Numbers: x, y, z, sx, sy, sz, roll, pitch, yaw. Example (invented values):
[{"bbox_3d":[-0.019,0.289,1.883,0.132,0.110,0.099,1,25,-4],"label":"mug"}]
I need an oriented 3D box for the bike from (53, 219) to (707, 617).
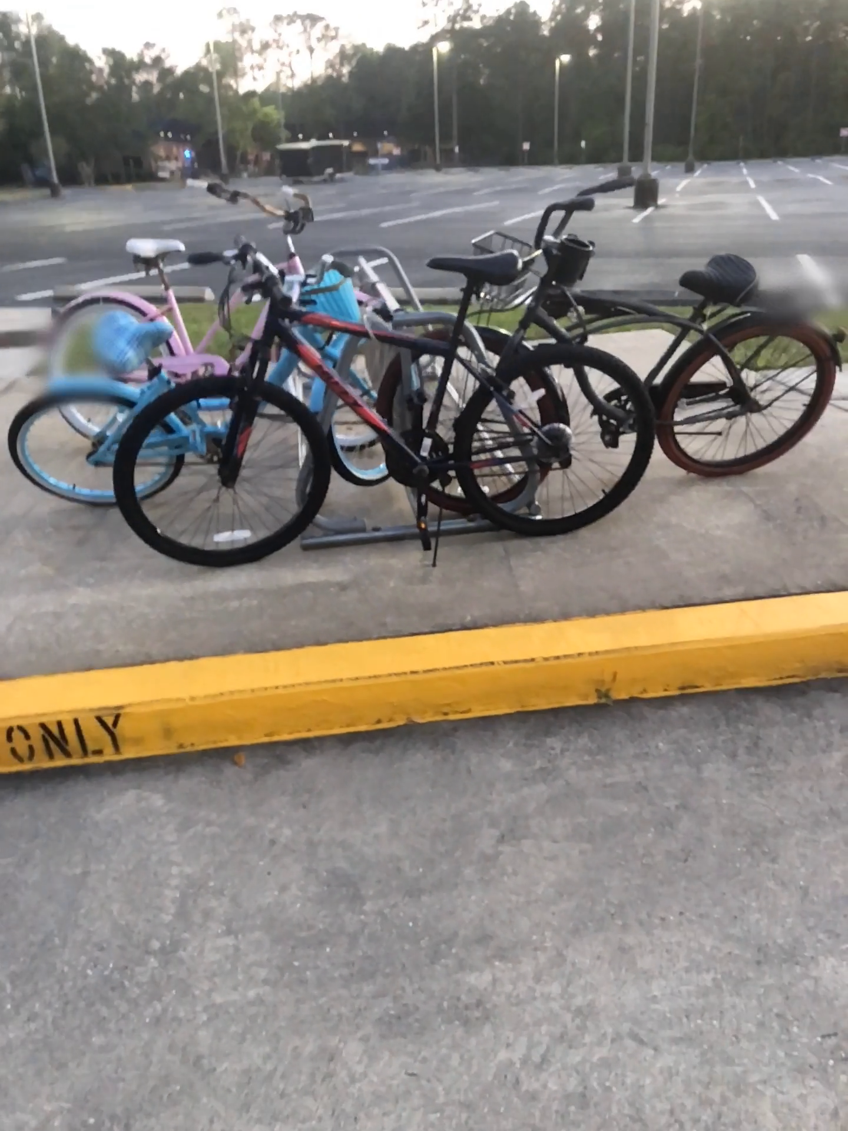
[{"bbox_3d":[-0.090,-0.492,2.747,1.629,0.932,0.627,-6,23,-10],"label":"bike"}]
